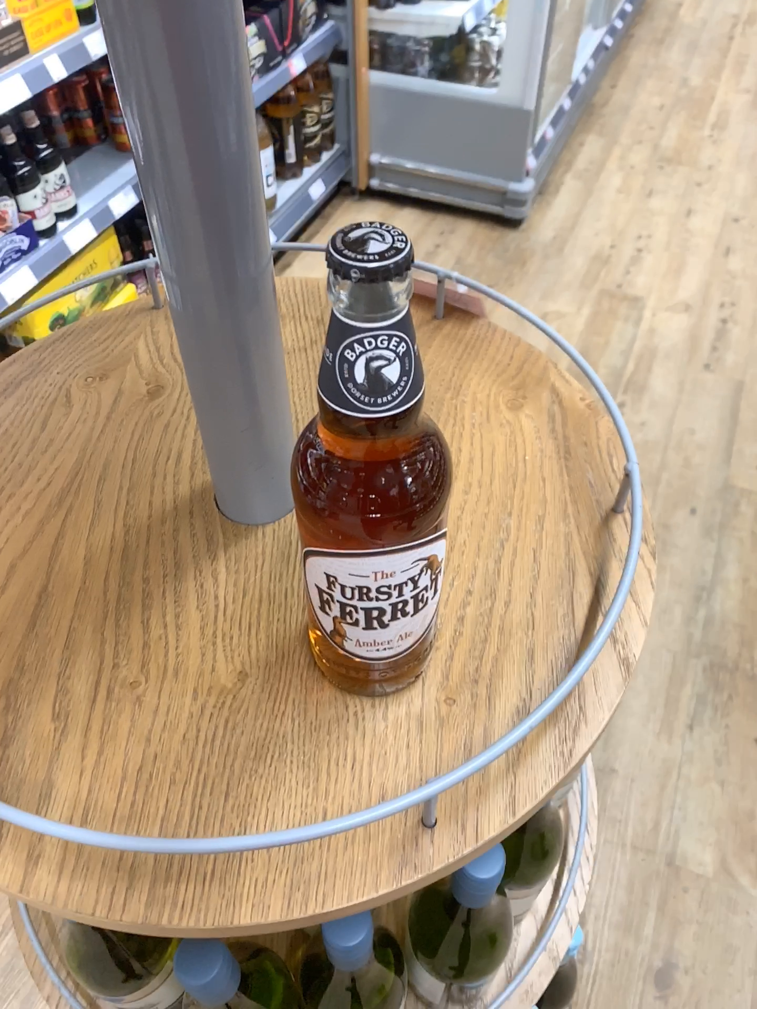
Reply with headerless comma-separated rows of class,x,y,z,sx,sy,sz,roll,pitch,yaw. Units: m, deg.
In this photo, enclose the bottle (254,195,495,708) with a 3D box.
bottle,-0.005,-0.004,0.339,0.069,0.231,0.076,-6,49,-5
